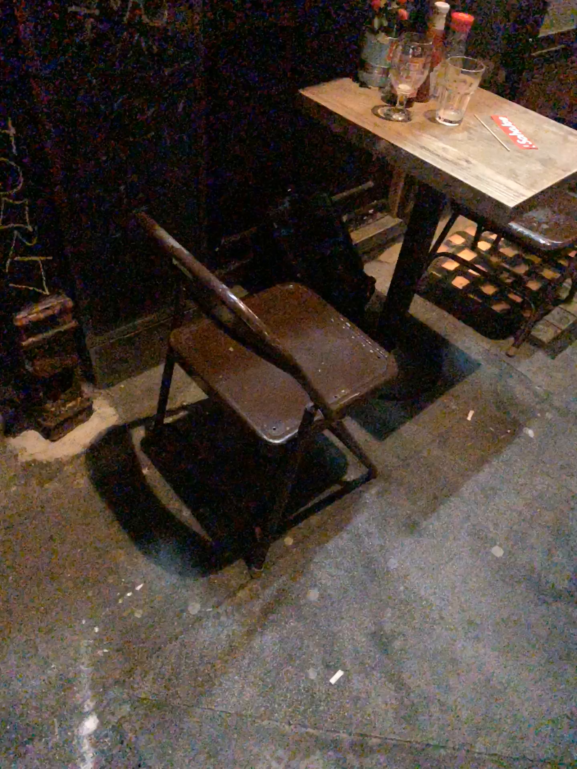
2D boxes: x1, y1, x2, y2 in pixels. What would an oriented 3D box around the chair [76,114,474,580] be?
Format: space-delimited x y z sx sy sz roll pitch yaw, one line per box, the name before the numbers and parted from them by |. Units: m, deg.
chair | -0.055 -0.081 1.250 0.482 0.723 0.493 -28 53 -31
